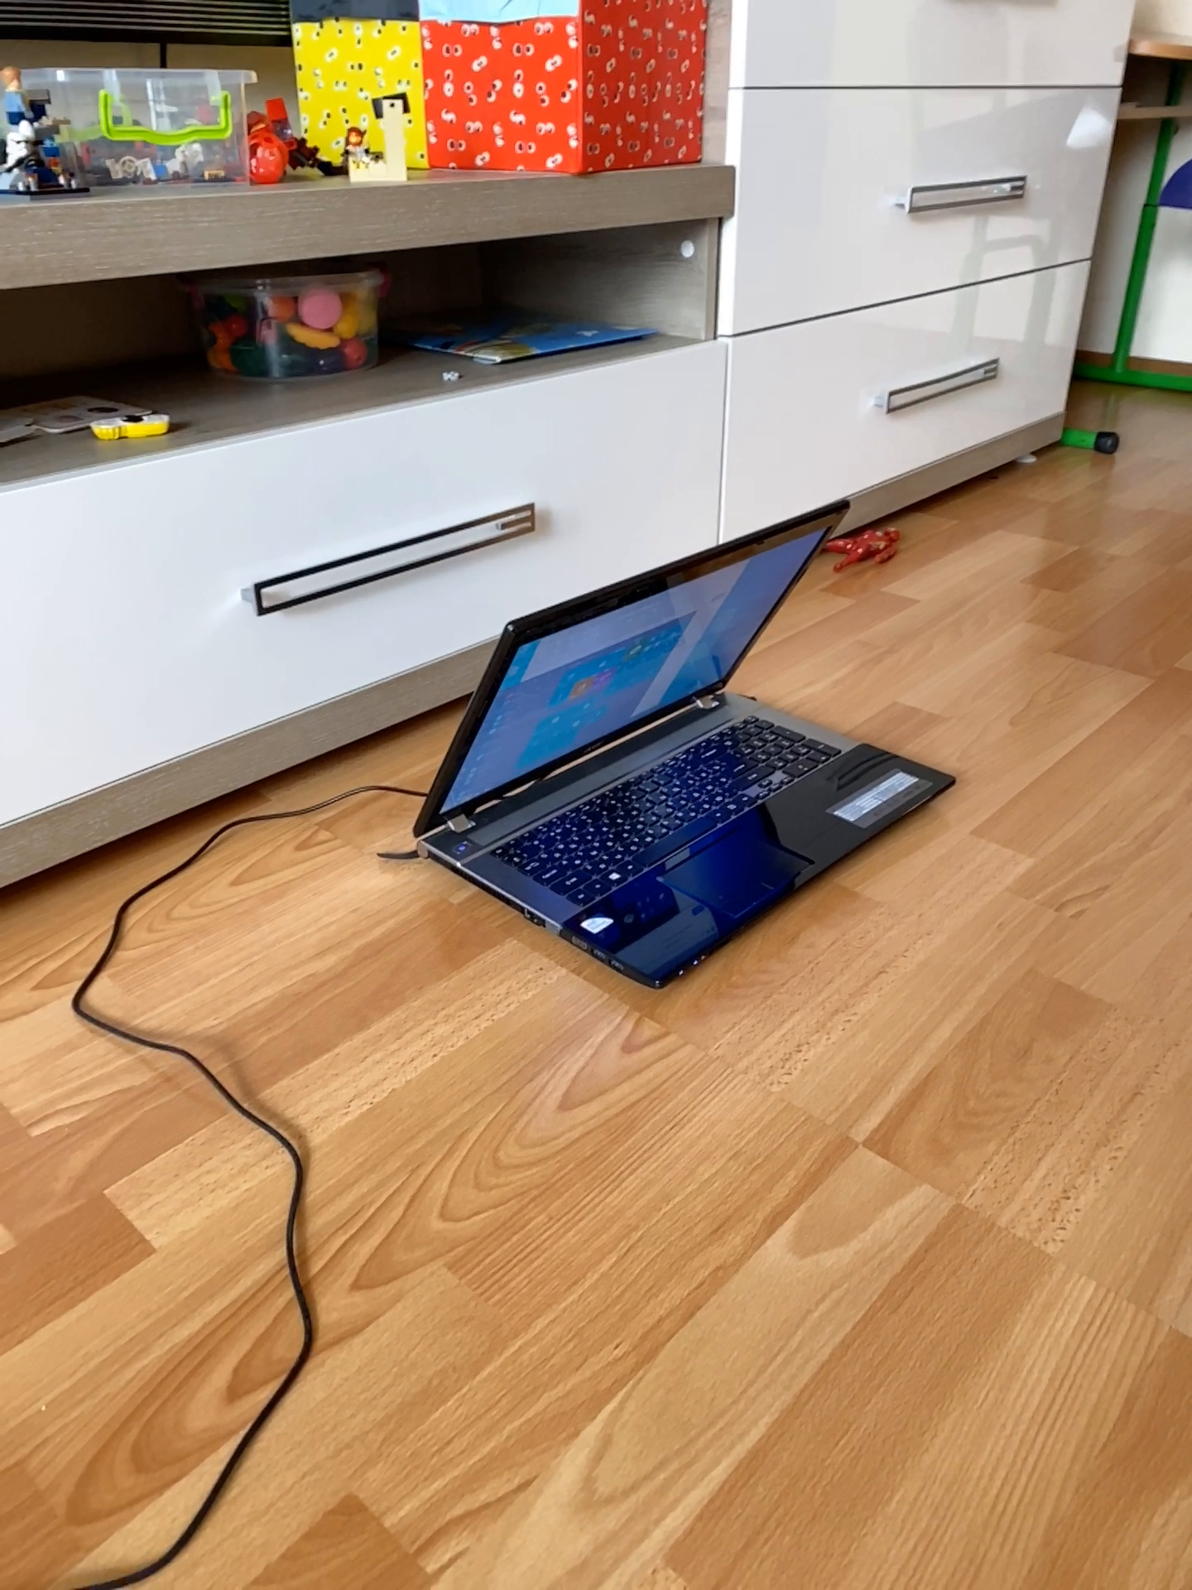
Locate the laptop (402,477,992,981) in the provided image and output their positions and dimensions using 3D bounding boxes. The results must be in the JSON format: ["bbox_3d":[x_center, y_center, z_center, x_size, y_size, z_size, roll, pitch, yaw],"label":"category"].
[{"bbox_3d":[0.091,-0.089,1.017,0.269,0.233,0.413,25,37,38],"label":"laptop"}]
